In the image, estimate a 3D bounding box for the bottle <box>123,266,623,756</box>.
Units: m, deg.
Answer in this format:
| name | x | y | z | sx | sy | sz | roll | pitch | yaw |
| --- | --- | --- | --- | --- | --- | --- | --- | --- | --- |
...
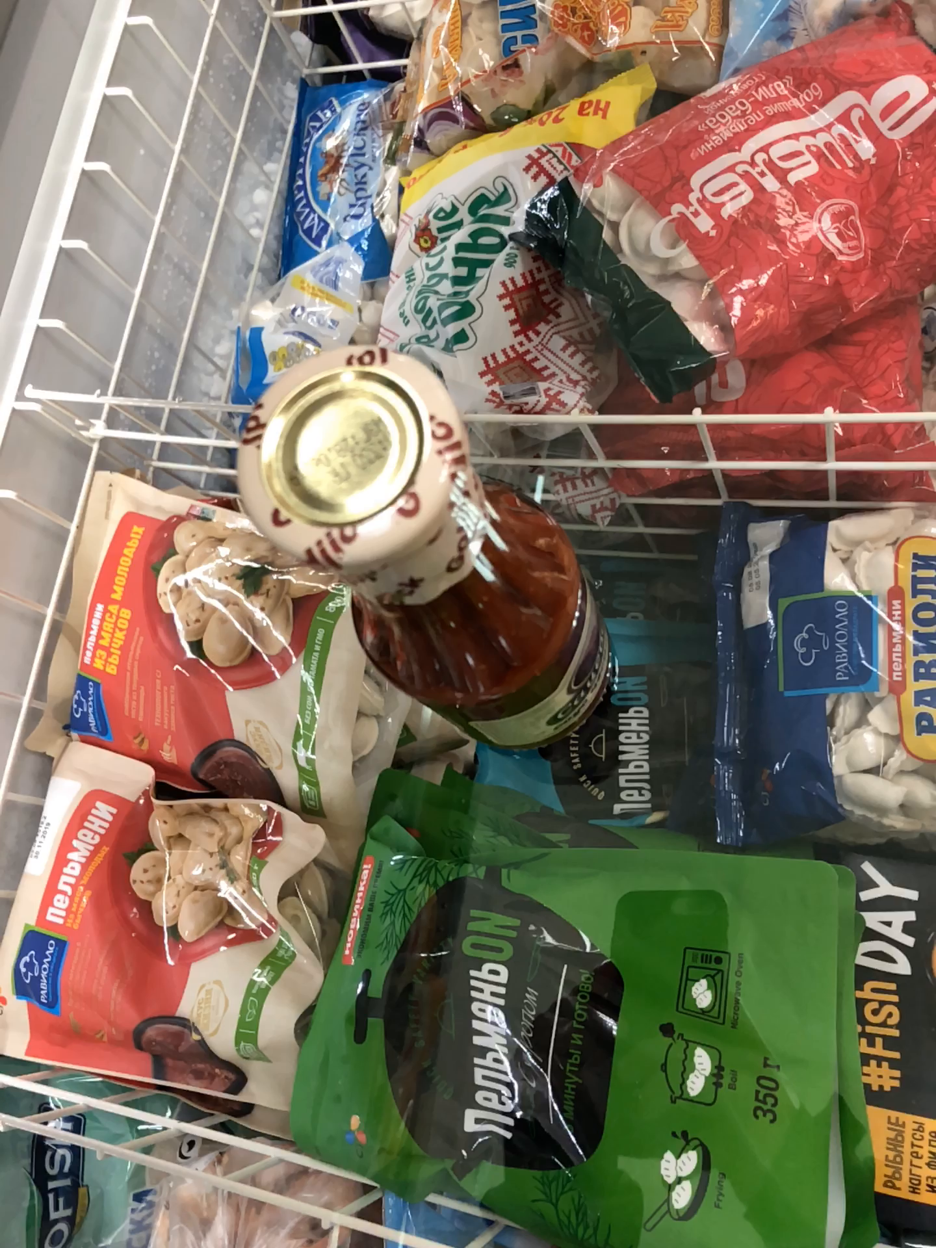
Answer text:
| name | x | y | z | sx | sy | sz | roll | pitch | yaw |
| --- | --- | --- | --- | --- | --- | --- | --- | --- | --- |
| bottle | -0.007 | -0.015 | 0.286 | 0.070 | 0.180 | 0.070 | -4 | 74 | 14 |
